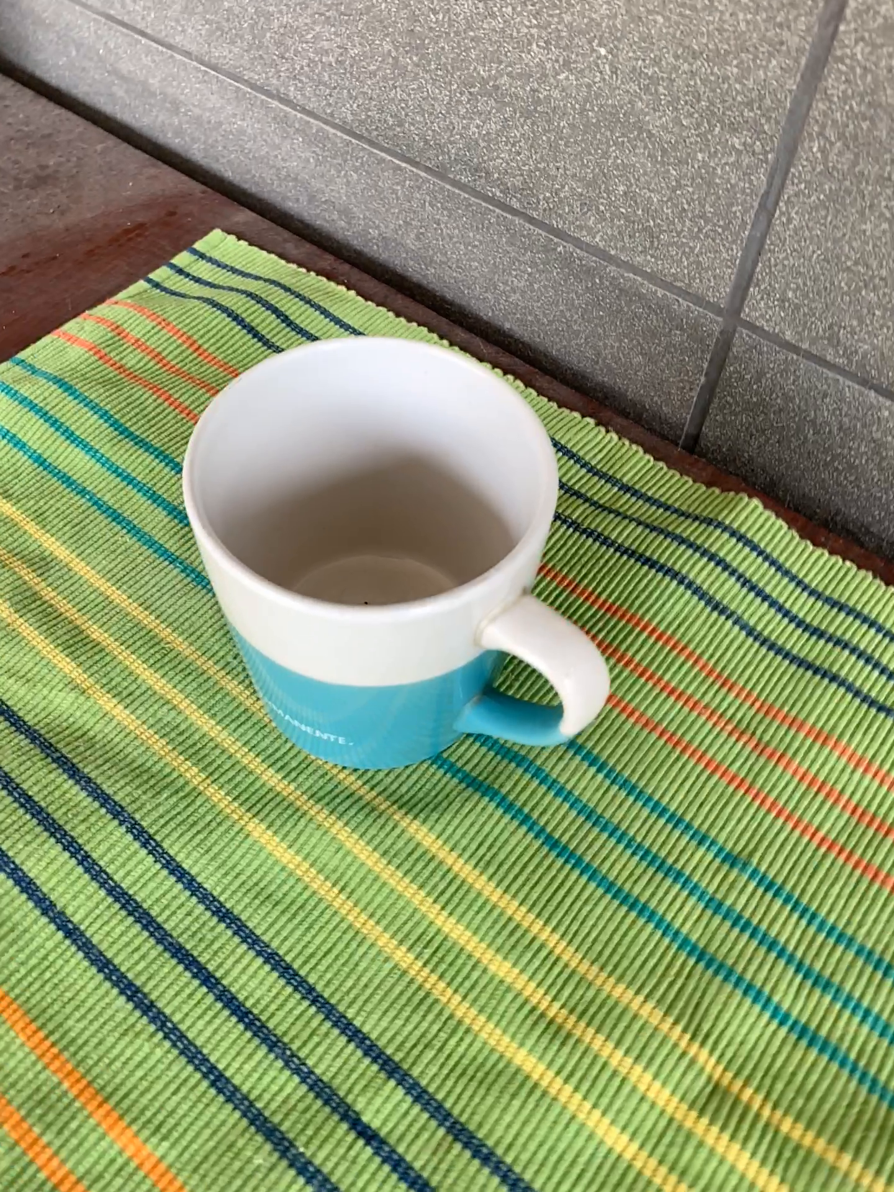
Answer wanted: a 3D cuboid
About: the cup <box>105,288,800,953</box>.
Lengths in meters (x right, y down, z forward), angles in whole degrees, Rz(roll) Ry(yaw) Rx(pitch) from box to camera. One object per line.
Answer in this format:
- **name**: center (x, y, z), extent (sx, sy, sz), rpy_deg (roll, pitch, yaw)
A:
- **cup**: center (0.000, 0.004, 0.267), extent (0.140, 0.100, 0.100), rpy_deg (32, 58, 20)
